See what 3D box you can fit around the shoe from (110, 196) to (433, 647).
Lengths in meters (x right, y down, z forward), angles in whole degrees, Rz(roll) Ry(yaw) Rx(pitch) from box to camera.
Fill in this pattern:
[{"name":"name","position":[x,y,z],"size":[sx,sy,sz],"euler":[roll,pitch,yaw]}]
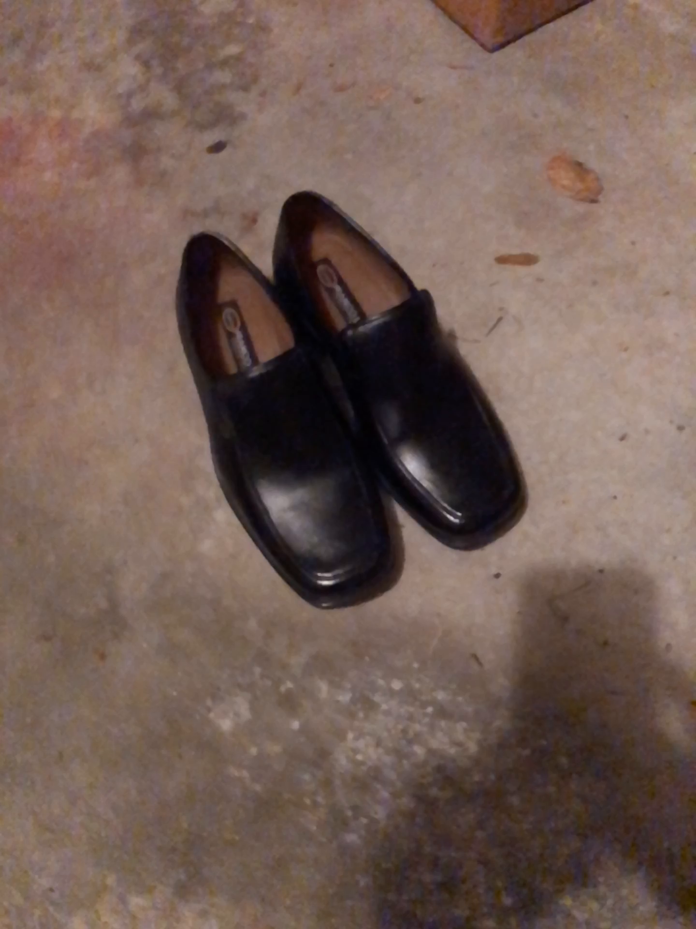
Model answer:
[{"name":"shoe","position":[-0.055,-0.031,0.539],"size":[0.101,0.113,0.279],"euler":[-25,69,-7]}]

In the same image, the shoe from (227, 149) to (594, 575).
[{"name":"shoe","position":[0.034,-0.073,0.551],"size":[0.104,0.113,0.269],"euler":[-31,70,-10]}]
